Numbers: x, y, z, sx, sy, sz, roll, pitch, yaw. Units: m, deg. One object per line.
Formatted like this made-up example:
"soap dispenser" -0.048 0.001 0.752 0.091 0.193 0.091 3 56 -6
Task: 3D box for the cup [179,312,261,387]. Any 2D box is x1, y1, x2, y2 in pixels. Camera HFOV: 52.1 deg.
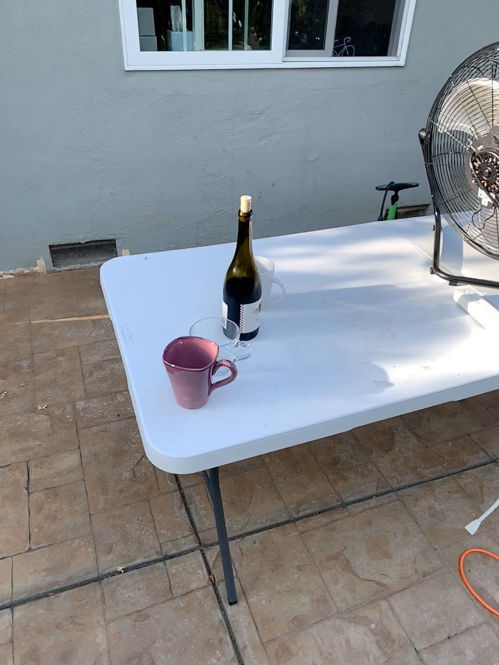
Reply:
"cup" -0.057 0.031 1.018 0.130 0.079 0.101 14 36 17

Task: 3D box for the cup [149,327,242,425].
"cup" -0.094 0.076 0.921 0.130 0.109 0.101 14 36 17

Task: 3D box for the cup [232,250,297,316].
"cup" 0.034 -0.116 1.181 0.120 0.099 0.090 14 36 17
